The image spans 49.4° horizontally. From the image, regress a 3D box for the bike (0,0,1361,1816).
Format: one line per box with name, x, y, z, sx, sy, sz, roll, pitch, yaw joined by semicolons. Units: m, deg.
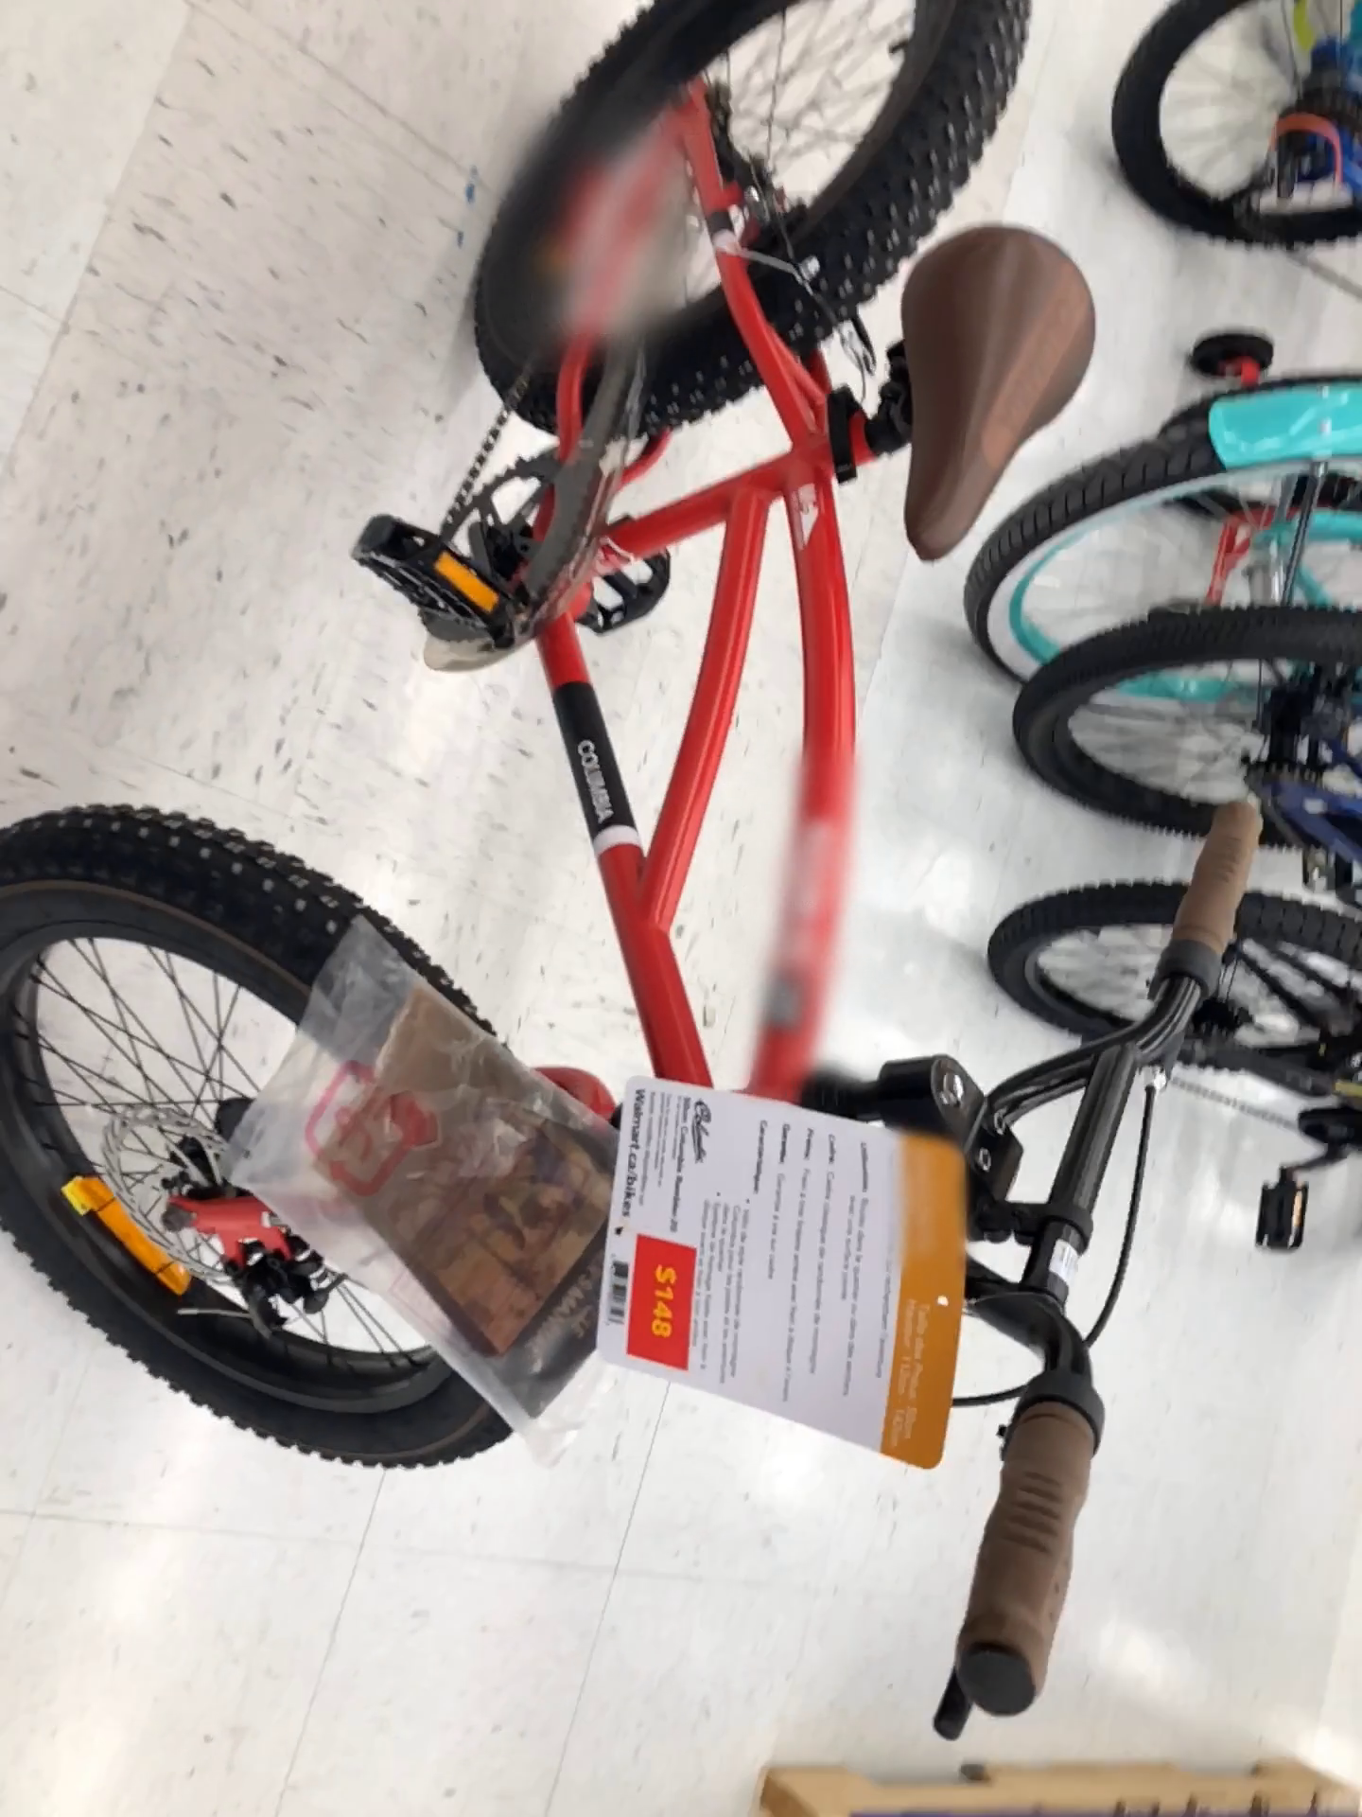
bike;0.027;-0.226;1.068;0.610;0.969;1.357;23;81;-35
